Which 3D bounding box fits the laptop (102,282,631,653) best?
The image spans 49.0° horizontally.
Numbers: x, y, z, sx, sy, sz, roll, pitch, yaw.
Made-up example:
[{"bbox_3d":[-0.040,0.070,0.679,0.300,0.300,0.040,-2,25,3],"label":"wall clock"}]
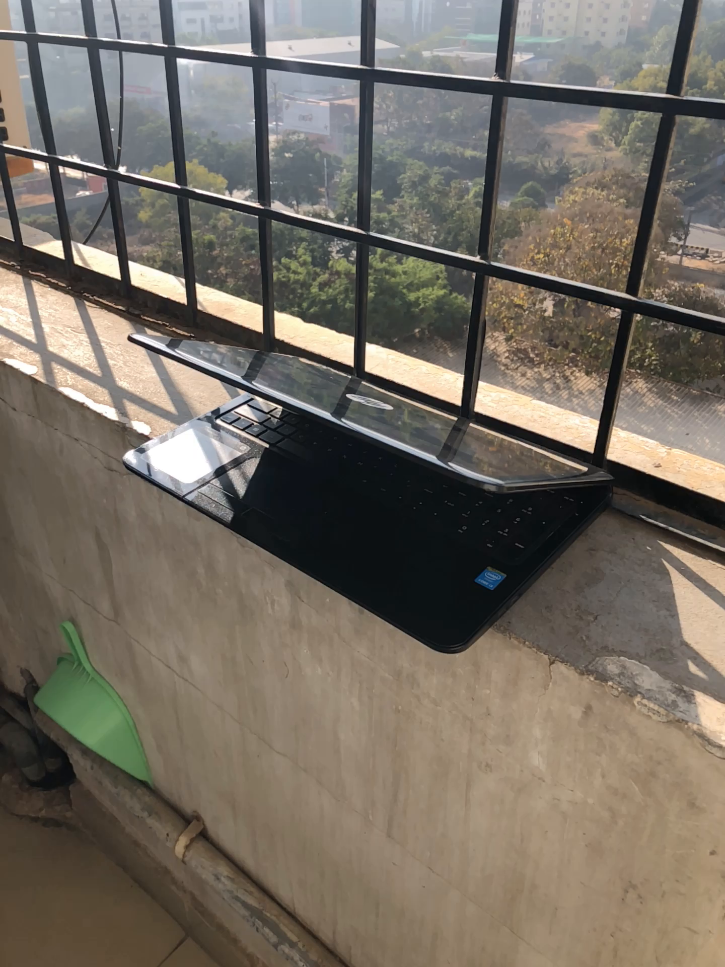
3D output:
[{"bbox_3d":[-0.003,-0.049,0.677,0.364,0.113,0.245,25,38,33],"label":"laptop"}]
